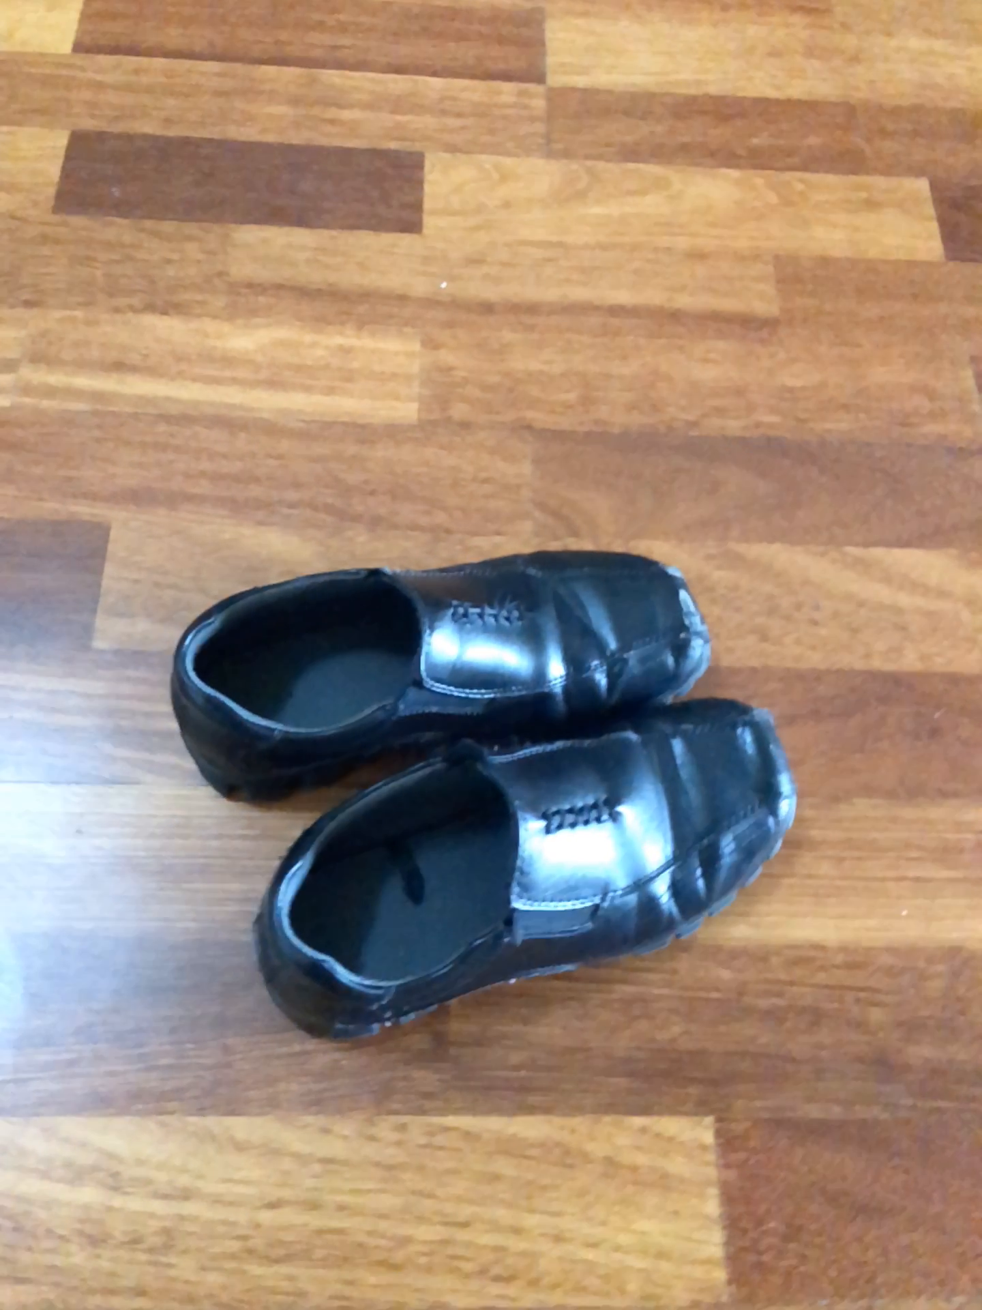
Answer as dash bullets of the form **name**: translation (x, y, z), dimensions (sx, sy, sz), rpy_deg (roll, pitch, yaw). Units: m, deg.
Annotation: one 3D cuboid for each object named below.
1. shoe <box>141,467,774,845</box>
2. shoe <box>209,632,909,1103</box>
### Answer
- **shoe**: translation (-0.015, 0.000, 0.457), dimensions (0.232, 0.075, 0.091), rpy_deg (-12, 66, -10)
- **shoe**: translation (0.024, 0.081, 0.419), dimensions (0.232, 0.075, 0.094), rpy_deg (-17, 67, -12)
